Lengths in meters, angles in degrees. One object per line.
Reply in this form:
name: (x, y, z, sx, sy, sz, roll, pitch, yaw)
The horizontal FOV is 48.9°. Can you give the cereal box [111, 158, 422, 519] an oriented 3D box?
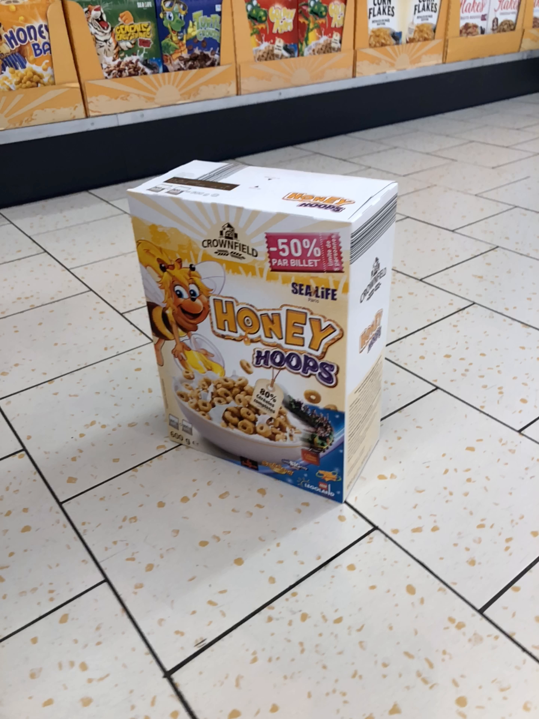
cereal box: (0.000, -0.025, 0.515, 0.210, 0.249, 0.111, 16, 36, 27)
